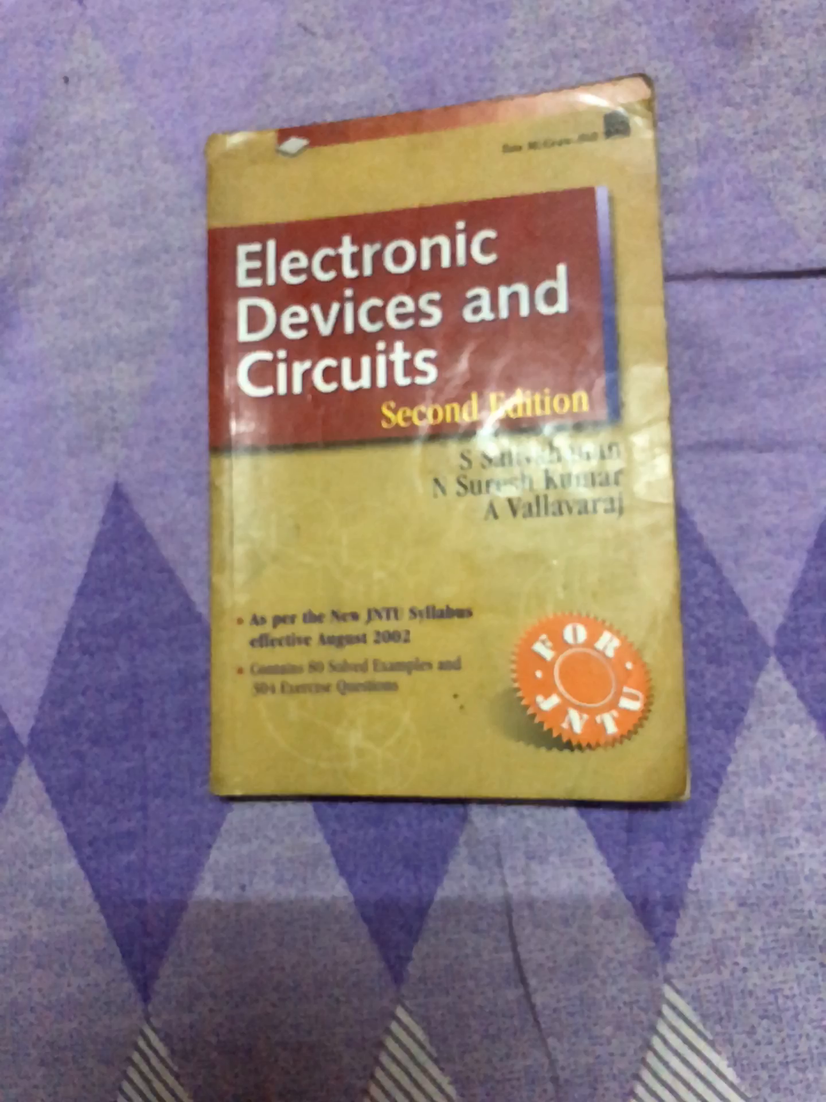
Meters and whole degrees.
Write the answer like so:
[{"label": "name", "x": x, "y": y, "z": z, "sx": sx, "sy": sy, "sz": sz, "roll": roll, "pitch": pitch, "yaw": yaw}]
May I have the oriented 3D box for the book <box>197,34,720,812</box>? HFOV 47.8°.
[{"label": "book", "x": 0.011, "y": -0.037, "z": 0.318, "sx": 0.160, "sy": 0.040, "sz": 0.240, "roll": -3, "pitch": 85, "yaw": 12}]
